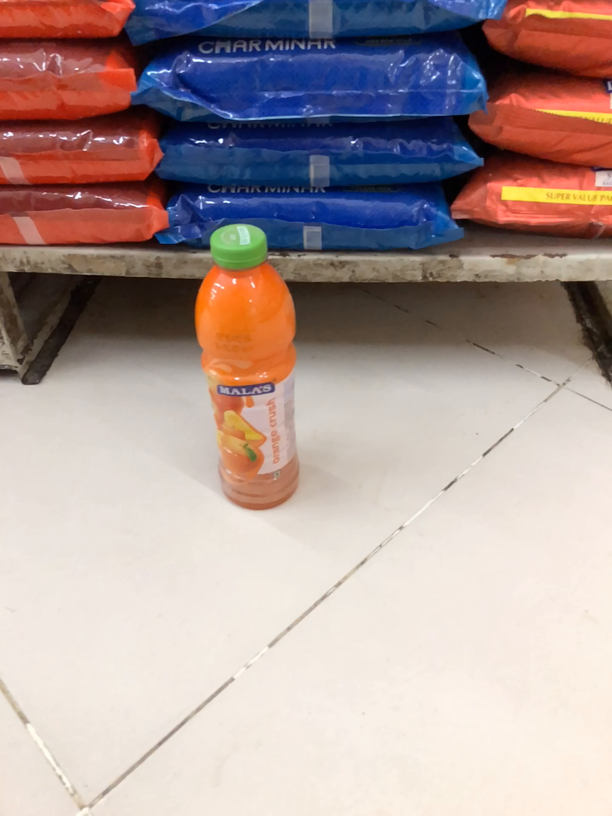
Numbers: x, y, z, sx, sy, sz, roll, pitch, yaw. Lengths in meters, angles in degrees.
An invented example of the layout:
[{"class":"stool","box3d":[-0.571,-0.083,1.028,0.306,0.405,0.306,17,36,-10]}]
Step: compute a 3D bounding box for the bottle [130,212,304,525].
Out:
[{"class":"bottle","box3d":[-0.059,-0.024,0.549,0.090,0.238,0.091,-1,41,1]}]
